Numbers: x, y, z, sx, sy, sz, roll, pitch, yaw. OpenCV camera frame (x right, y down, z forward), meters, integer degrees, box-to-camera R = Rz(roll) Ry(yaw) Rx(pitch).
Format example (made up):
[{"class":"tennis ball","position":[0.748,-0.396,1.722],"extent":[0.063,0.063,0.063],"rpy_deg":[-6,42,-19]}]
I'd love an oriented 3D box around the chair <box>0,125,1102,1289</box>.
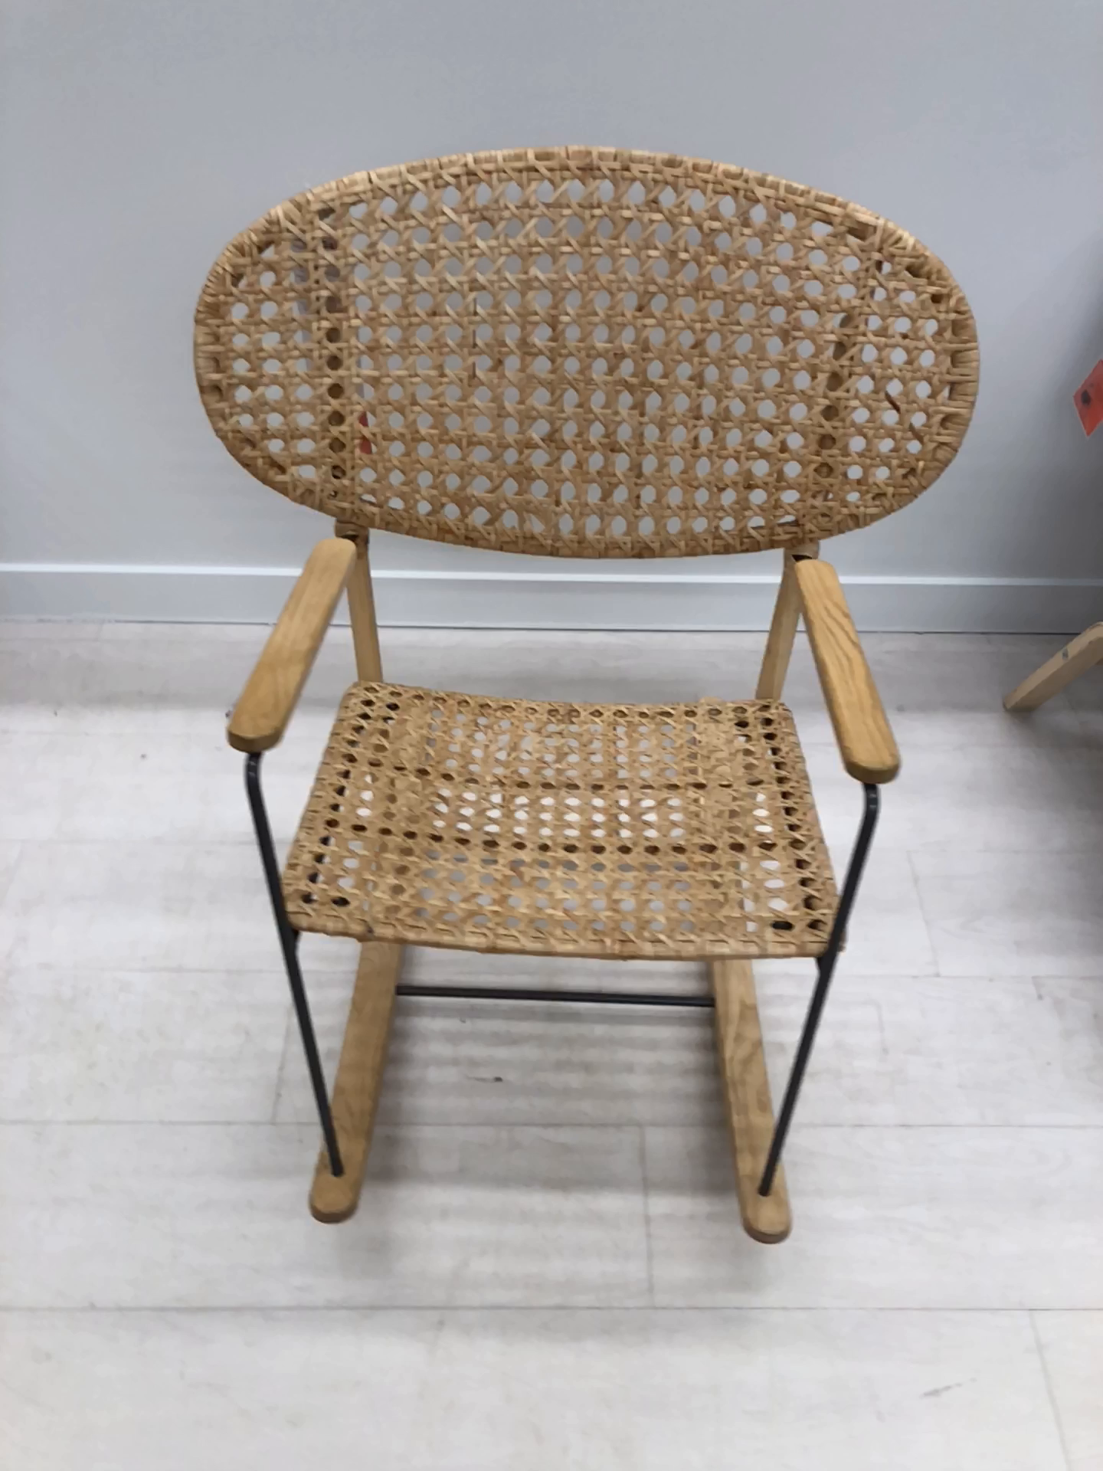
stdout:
[{"class":"chair","position":[0.032,-0.031,1.256],"extent":[0.830,0.787,0.853],"rpy_deg":[3,48,1]}]
